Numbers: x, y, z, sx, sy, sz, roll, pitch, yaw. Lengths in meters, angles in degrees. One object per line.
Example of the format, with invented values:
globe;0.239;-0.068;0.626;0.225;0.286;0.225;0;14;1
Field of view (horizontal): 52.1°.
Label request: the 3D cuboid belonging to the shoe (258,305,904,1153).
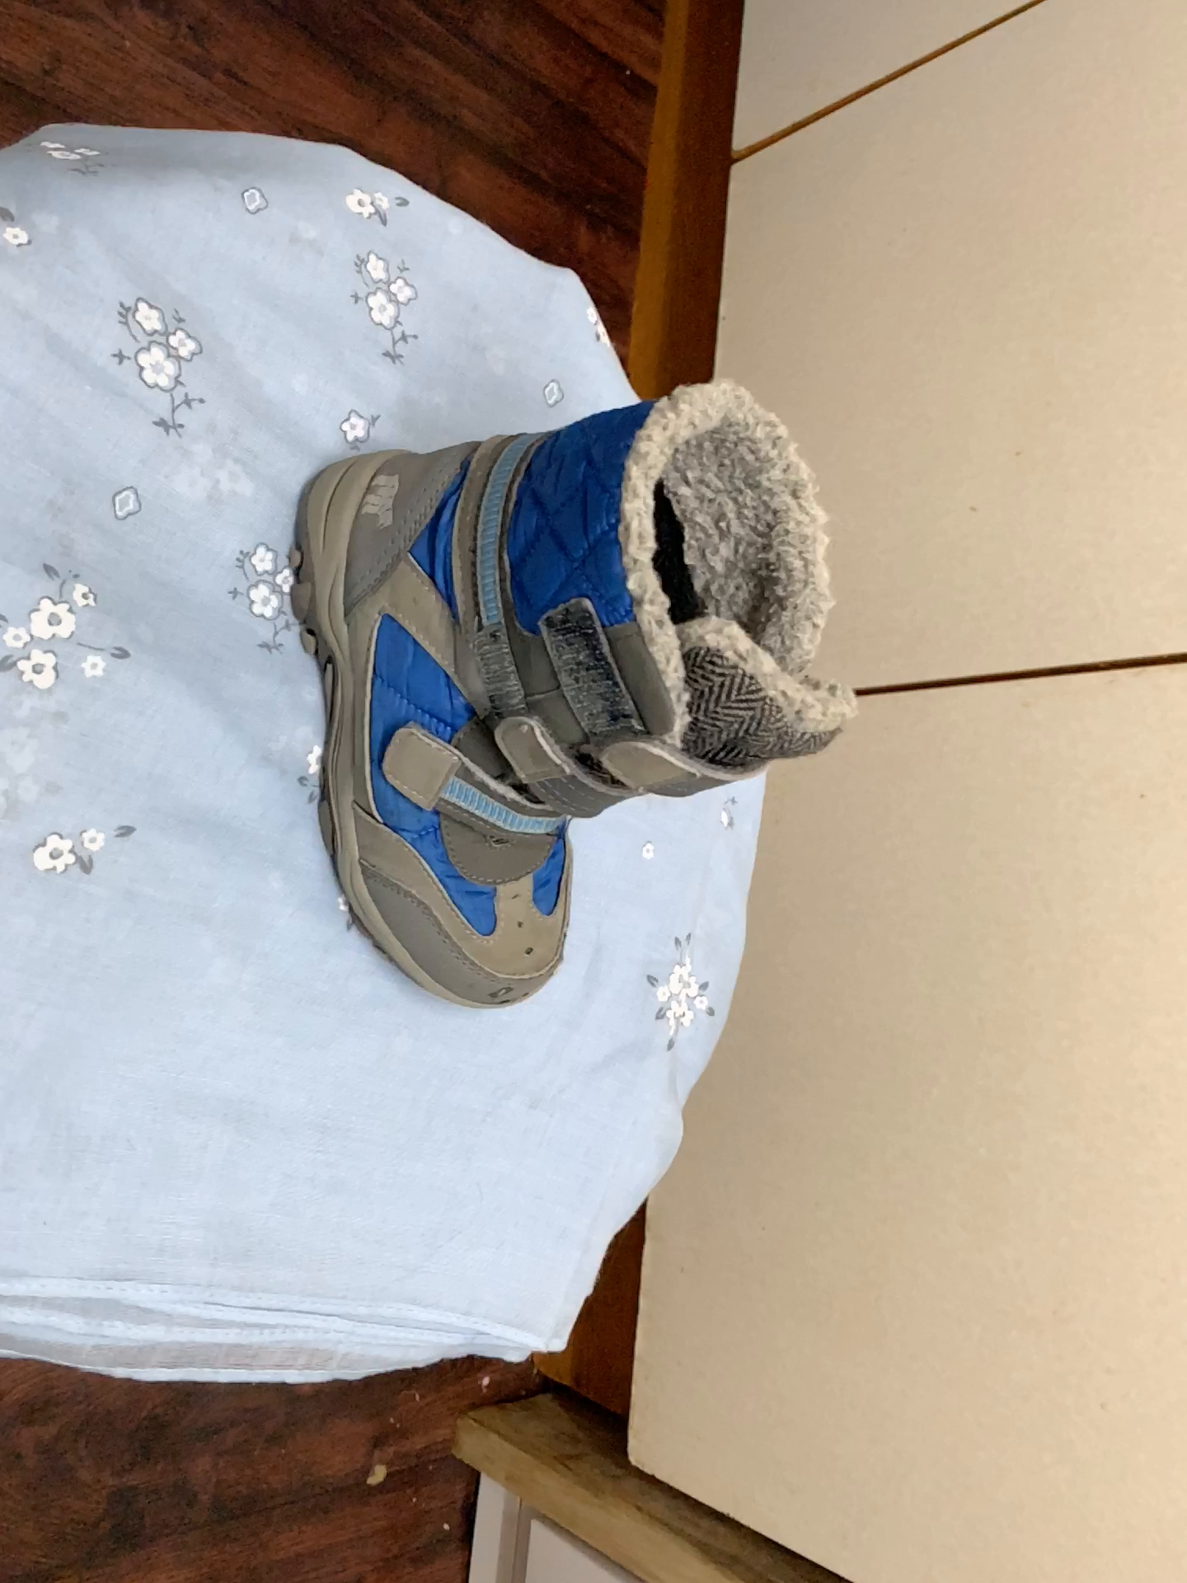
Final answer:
shoe;-0.009;-0.017;0.373;0.091;0.159;0.200;-12;97;-43
